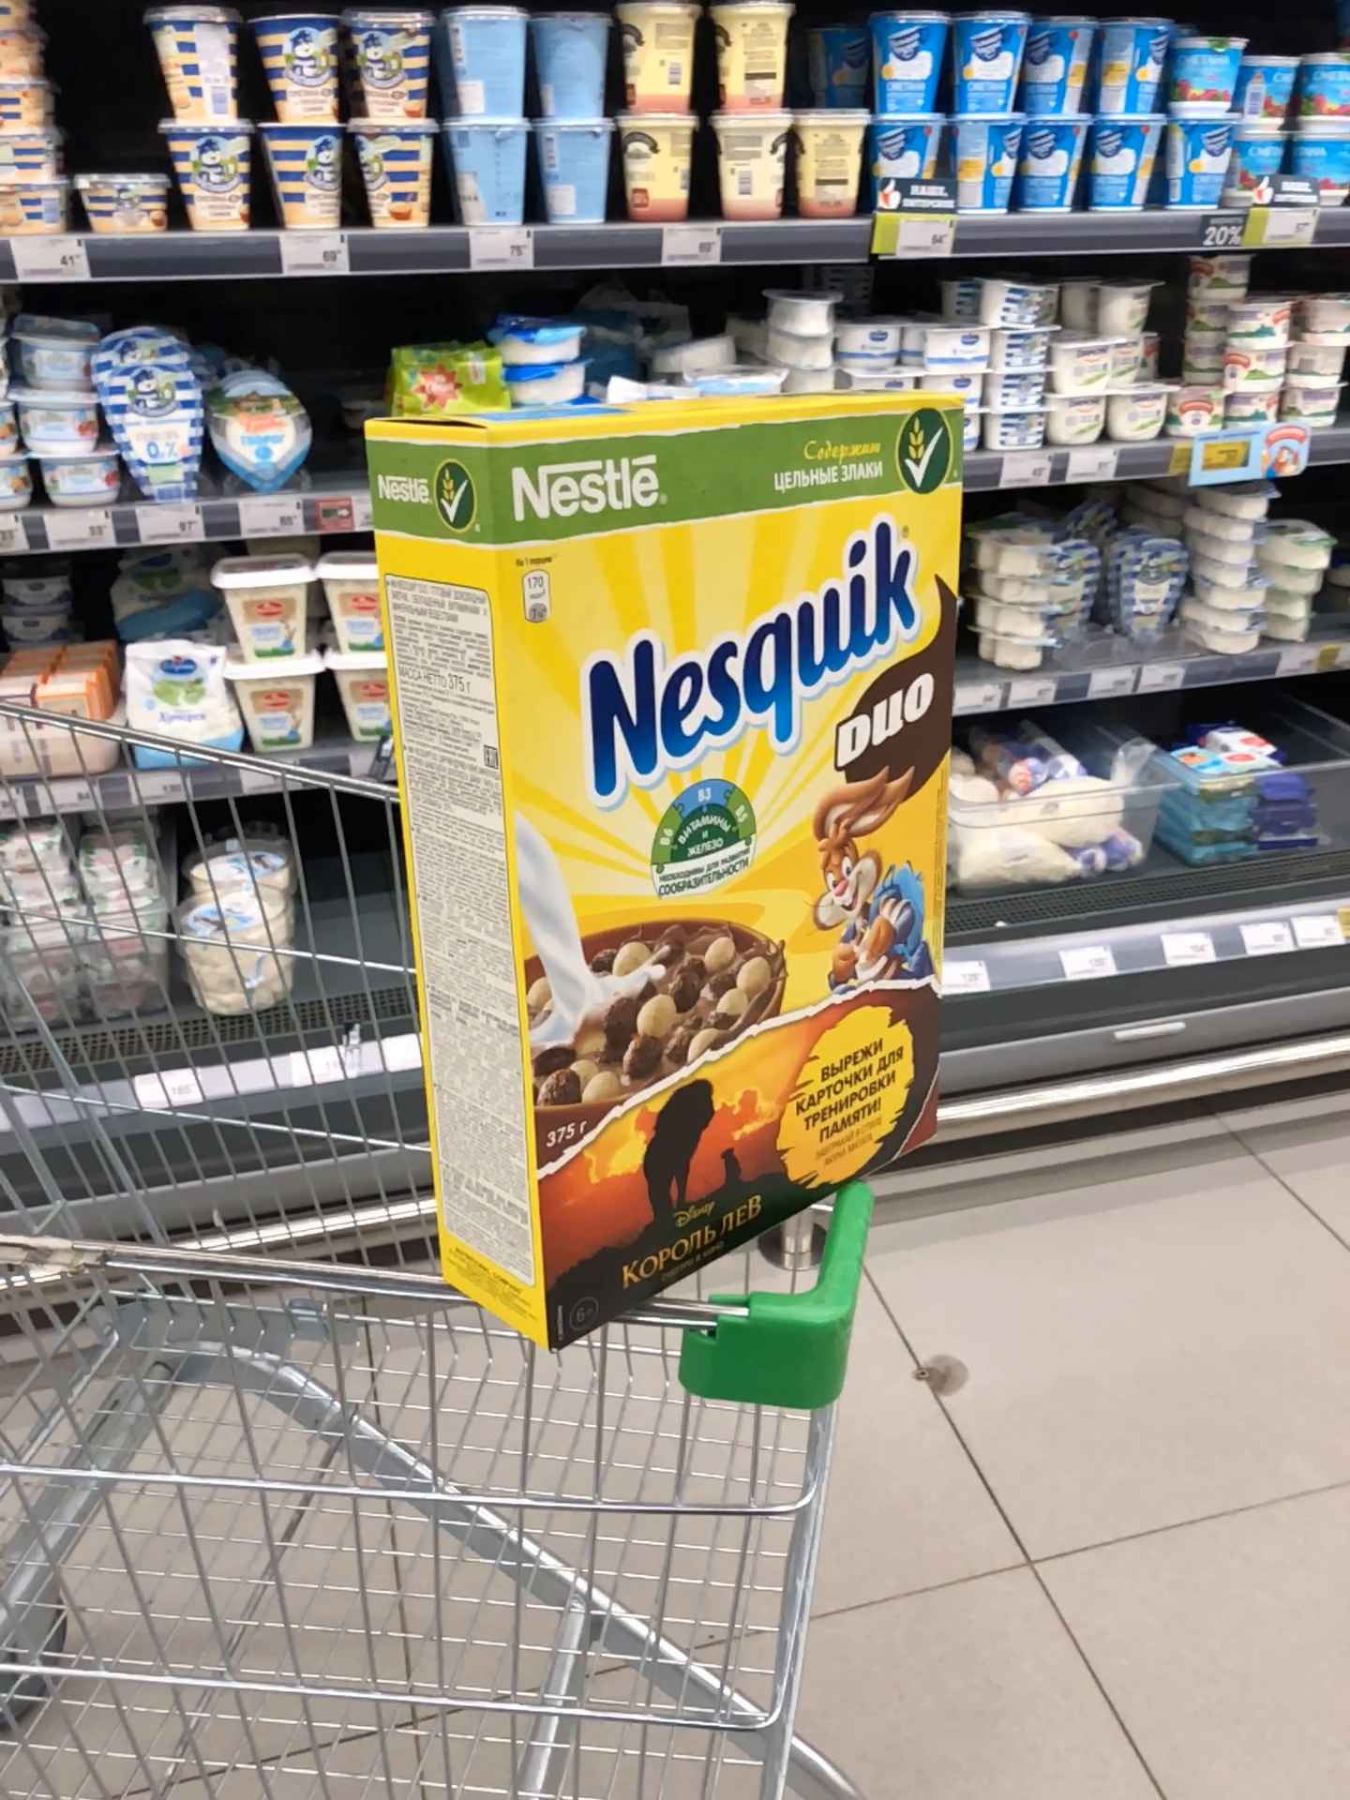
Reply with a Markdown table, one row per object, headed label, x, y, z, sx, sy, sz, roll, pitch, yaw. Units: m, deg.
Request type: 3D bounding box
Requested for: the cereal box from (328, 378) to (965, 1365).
| label | x | y | z | sx | sy | sz | roll | pitch | yaw |
| --- | --- | --- | --- | --- | --- | --- | --- | --- | --- |
| cereal box | 0.004 | -0.021 | 0.489 | 0.200 | 0.279 | 0.060 | -19 | 26 | -39 |
